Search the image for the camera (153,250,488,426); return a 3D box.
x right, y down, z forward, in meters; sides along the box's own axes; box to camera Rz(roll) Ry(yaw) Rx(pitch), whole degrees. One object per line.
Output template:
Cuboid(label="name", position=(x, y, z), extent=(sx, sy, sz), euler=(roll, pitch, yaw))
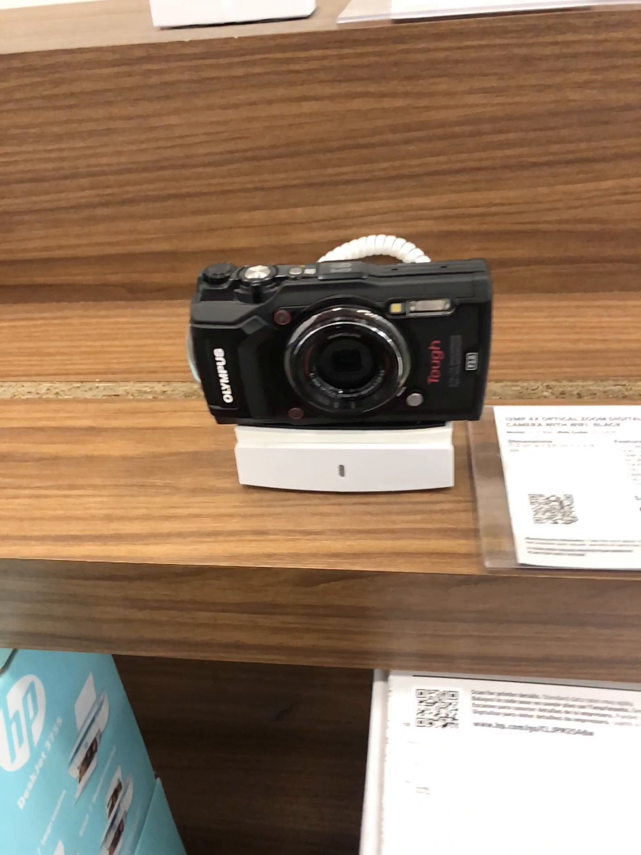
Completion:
Cuboid(label="camera", position=(0.002, -0.034, 0.283), extent=(0.120, 0.060, 0.030), euler=(0, 34, 8))
